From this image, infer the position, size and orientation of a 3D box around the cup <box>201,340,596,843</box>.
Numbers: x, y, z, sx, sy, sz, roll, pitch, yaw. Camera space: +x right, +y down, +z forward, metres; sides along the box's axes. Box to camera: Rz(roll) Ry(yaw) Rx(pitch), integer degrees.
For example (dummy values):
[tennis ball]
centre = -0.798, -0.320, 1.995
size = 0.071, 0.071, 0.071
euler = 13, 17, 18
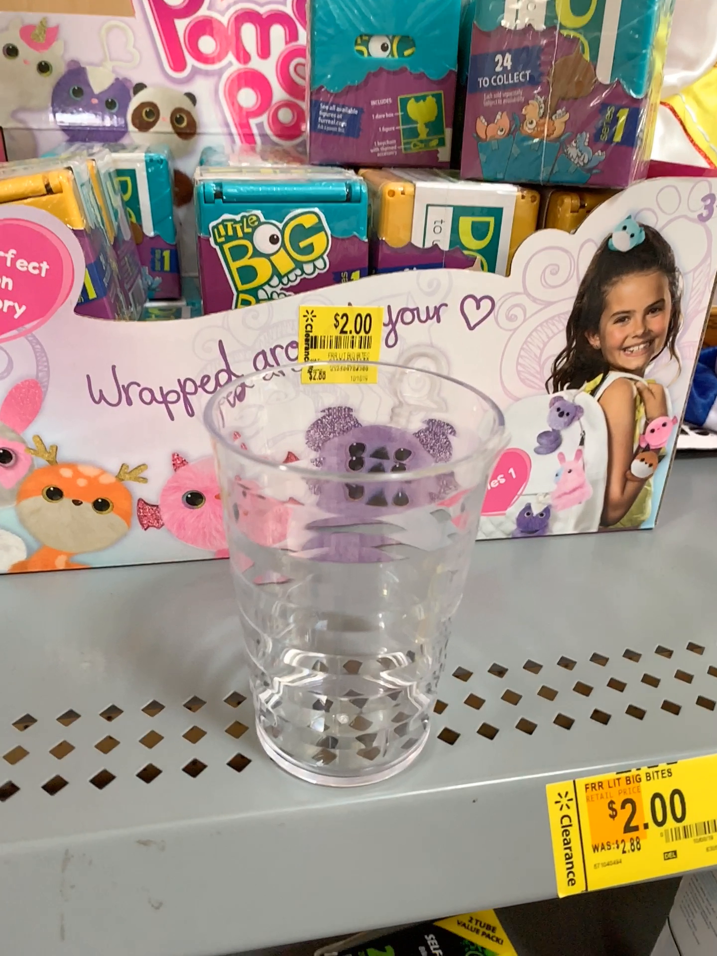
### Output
[cup]
centre = 0.001, 0.026, 0.202
size = 0.079, 0.107, 0.070
euler = -4, 28, -11
